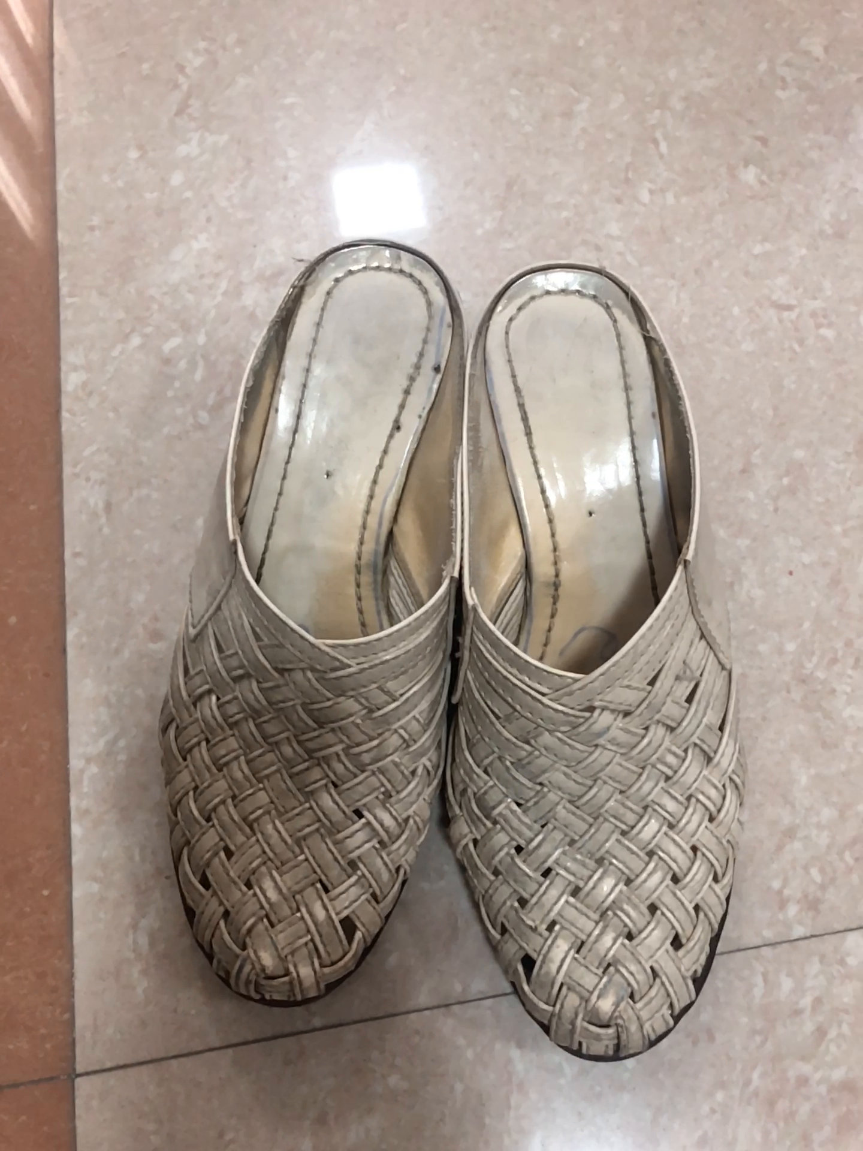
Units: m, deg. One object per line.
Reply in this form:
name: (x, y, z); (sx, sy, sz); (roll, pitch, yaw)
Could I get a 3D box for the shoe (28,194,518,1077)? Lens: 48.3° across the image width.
shoe: (-0.032, 0.010, 0.300); (0.090, 0.080, 0.240); (6, 71, 6)

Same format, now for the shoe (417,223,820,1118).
shoe: (0.046, 0.021, 0.295); (0.090, 0.080, 0.240); (-2, 71, 6)
